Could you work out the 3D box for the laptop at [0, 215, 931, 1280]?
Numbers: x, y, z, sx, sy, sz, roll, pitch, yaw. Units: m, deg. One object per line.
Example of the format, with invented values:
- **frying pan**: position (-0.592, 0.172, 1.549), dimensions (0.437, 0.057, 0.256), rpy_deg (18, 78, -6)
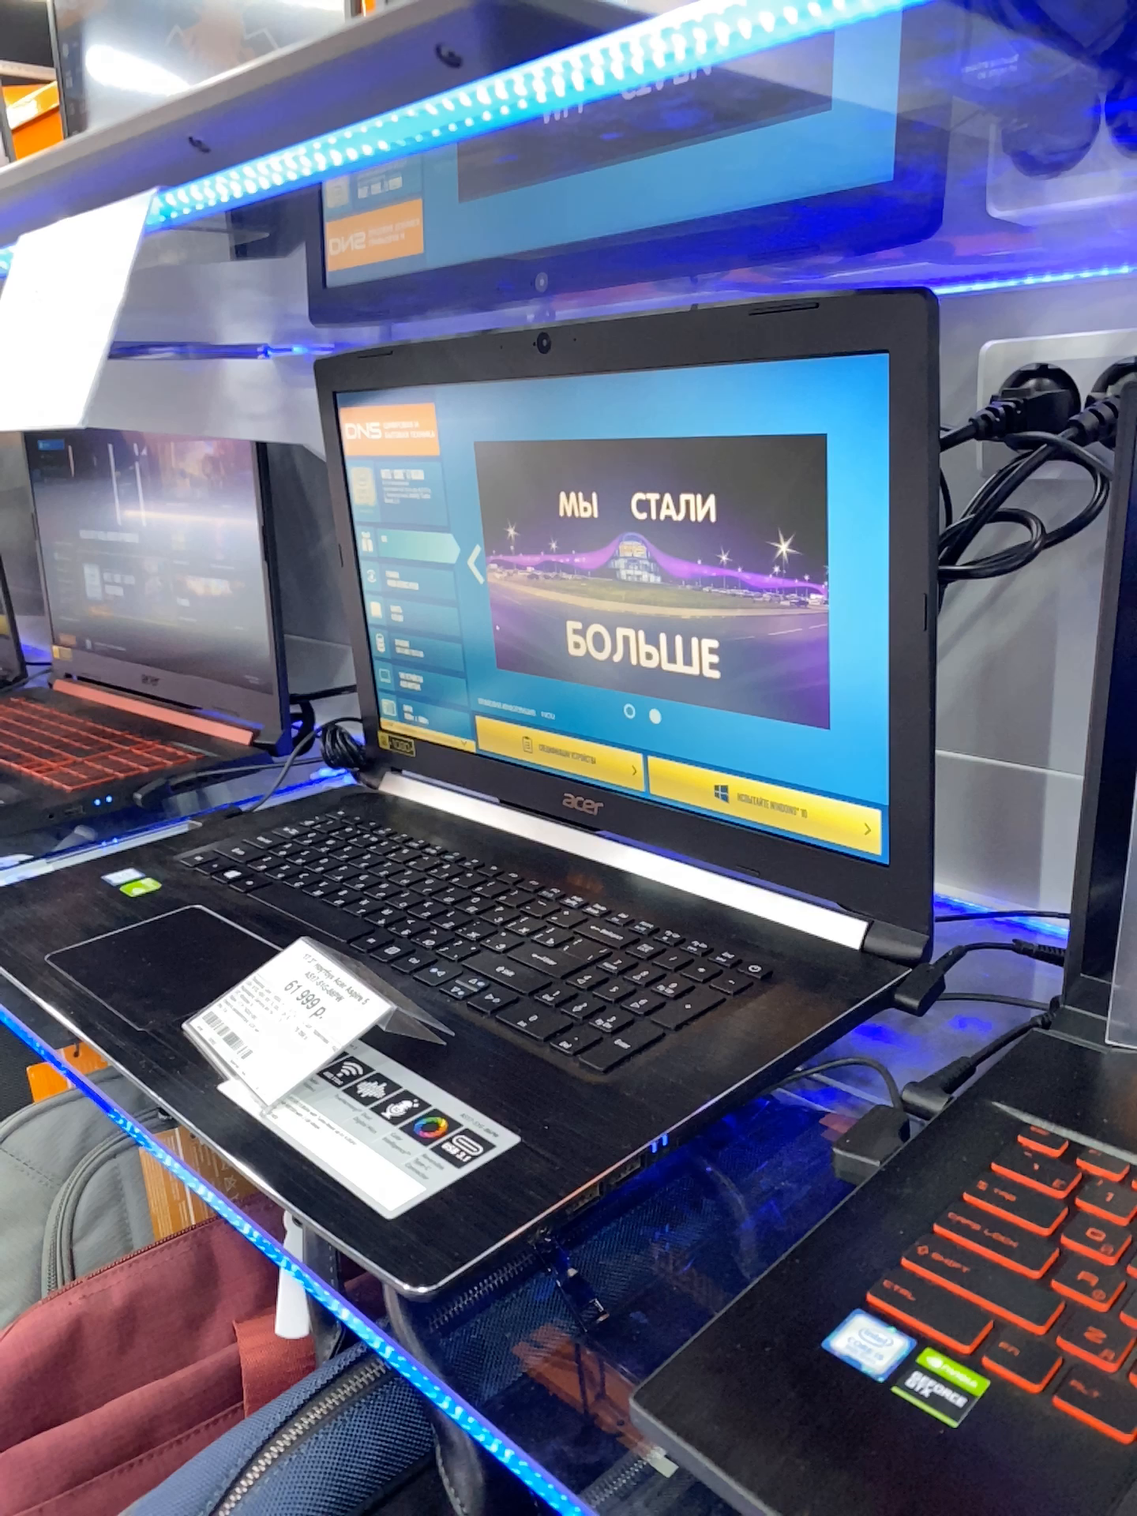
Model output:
- **laptop**: position (-0.102, -0.049, 0.531), dimensions (0.272, 0.277, 0.423), rpy_deg (-17, 21, -42)
